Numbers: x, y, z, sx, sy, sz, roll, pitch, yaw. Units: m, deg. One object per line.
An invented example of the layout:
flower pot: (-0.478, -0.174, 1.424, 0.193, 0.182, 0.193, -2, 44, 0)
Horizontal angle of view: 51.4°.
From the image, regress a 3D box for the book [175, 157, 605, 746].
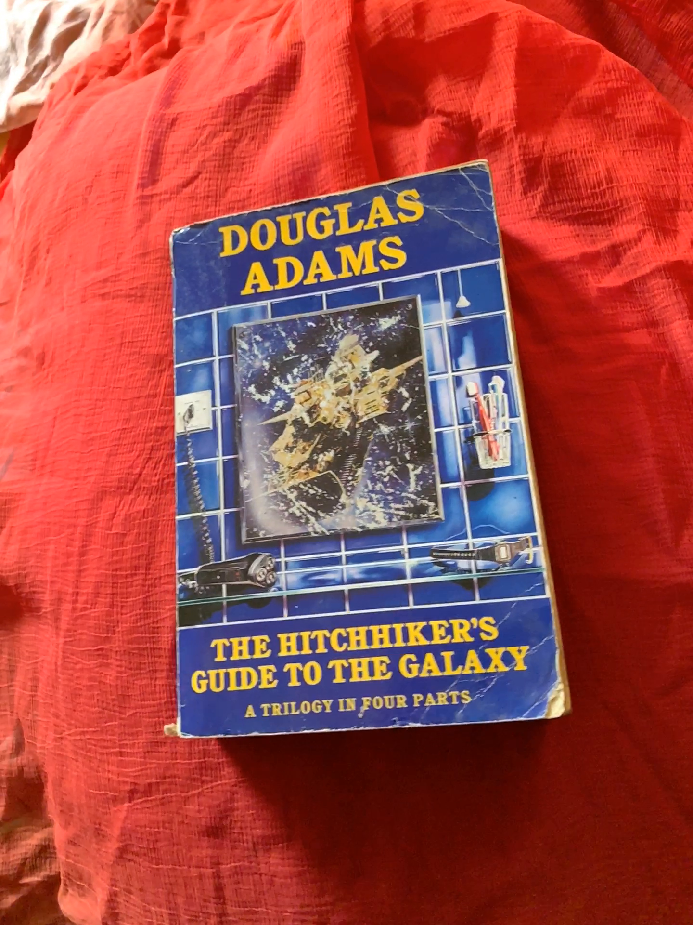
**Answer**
book: (0.008, -0.003, 0.259, 0.130, 0.045, 0.187, -7, 75, 12)
